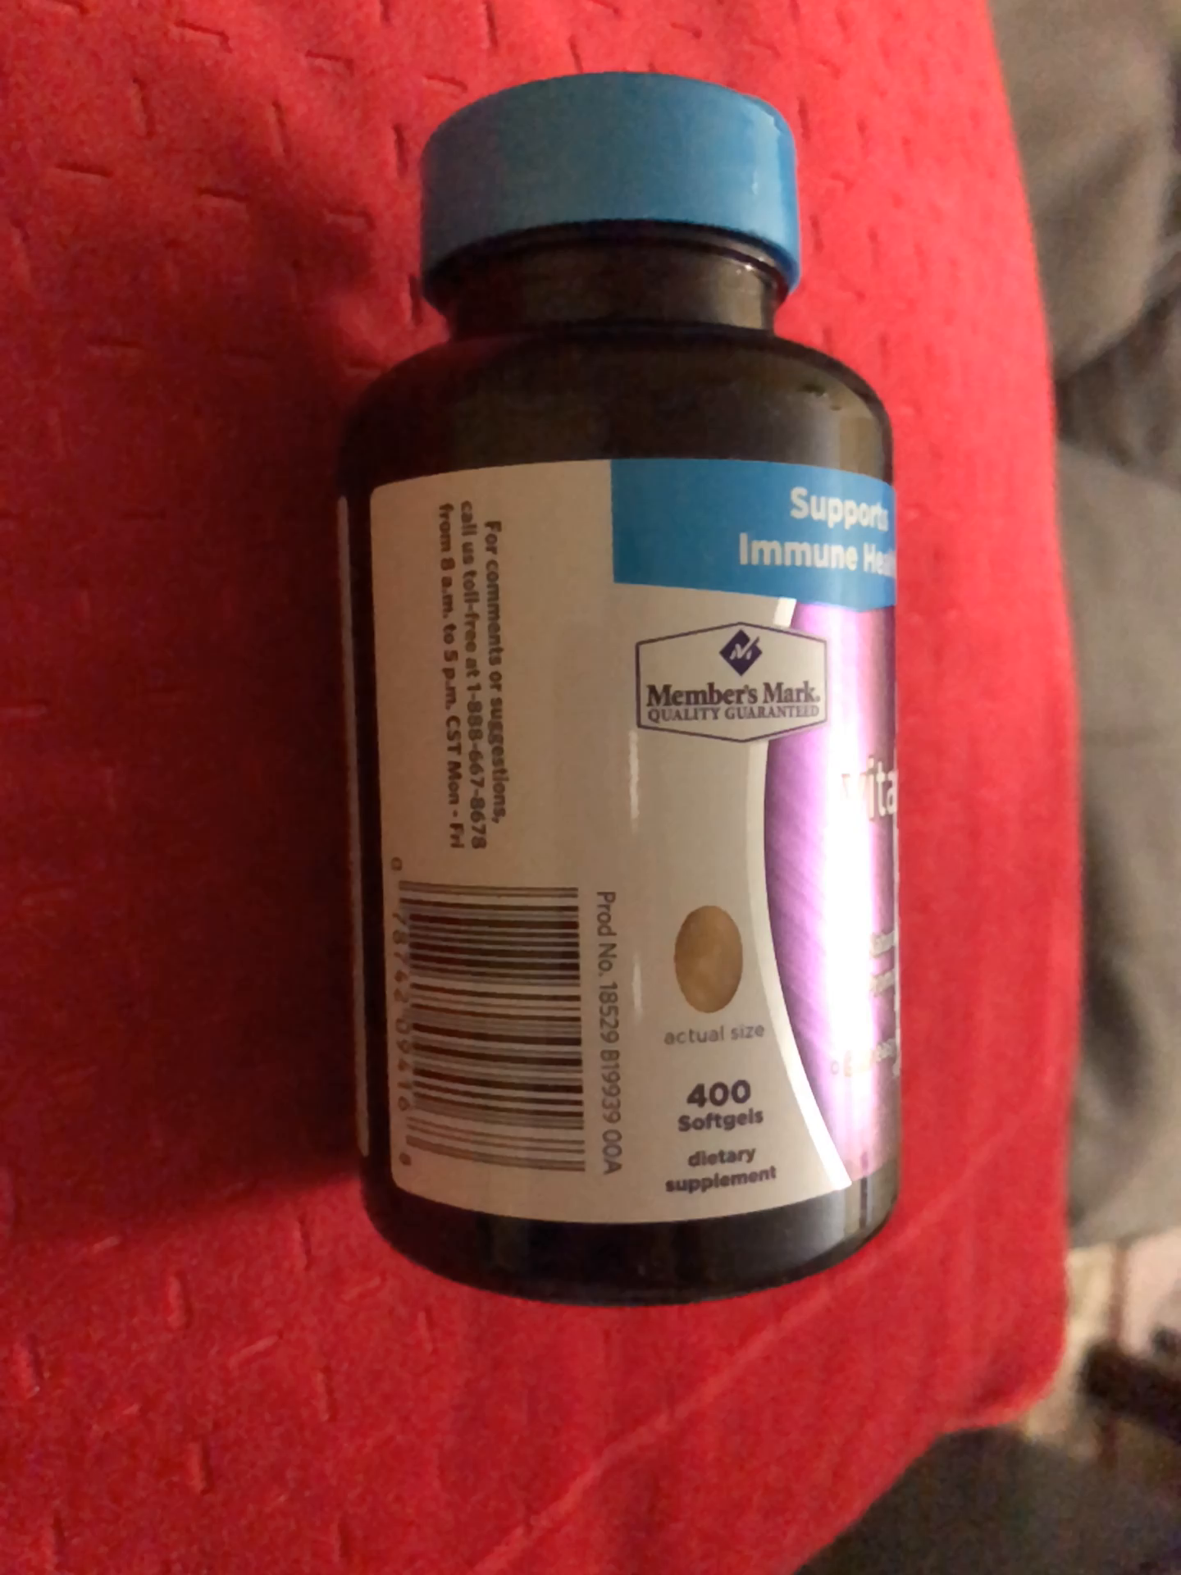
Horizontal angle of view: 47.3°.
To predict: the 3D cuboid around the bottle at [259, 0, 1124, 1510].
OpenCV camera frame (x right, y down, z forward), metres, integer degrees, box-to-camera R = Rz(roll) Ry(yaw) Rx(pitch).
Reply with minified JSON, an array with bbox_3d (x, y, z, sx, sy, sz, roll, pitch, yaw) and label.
[{"bbox_3d":[0.012,-0.014,0.150,0.070,0.060,0.140,-5,97,-41],"label":"bottle"}]
